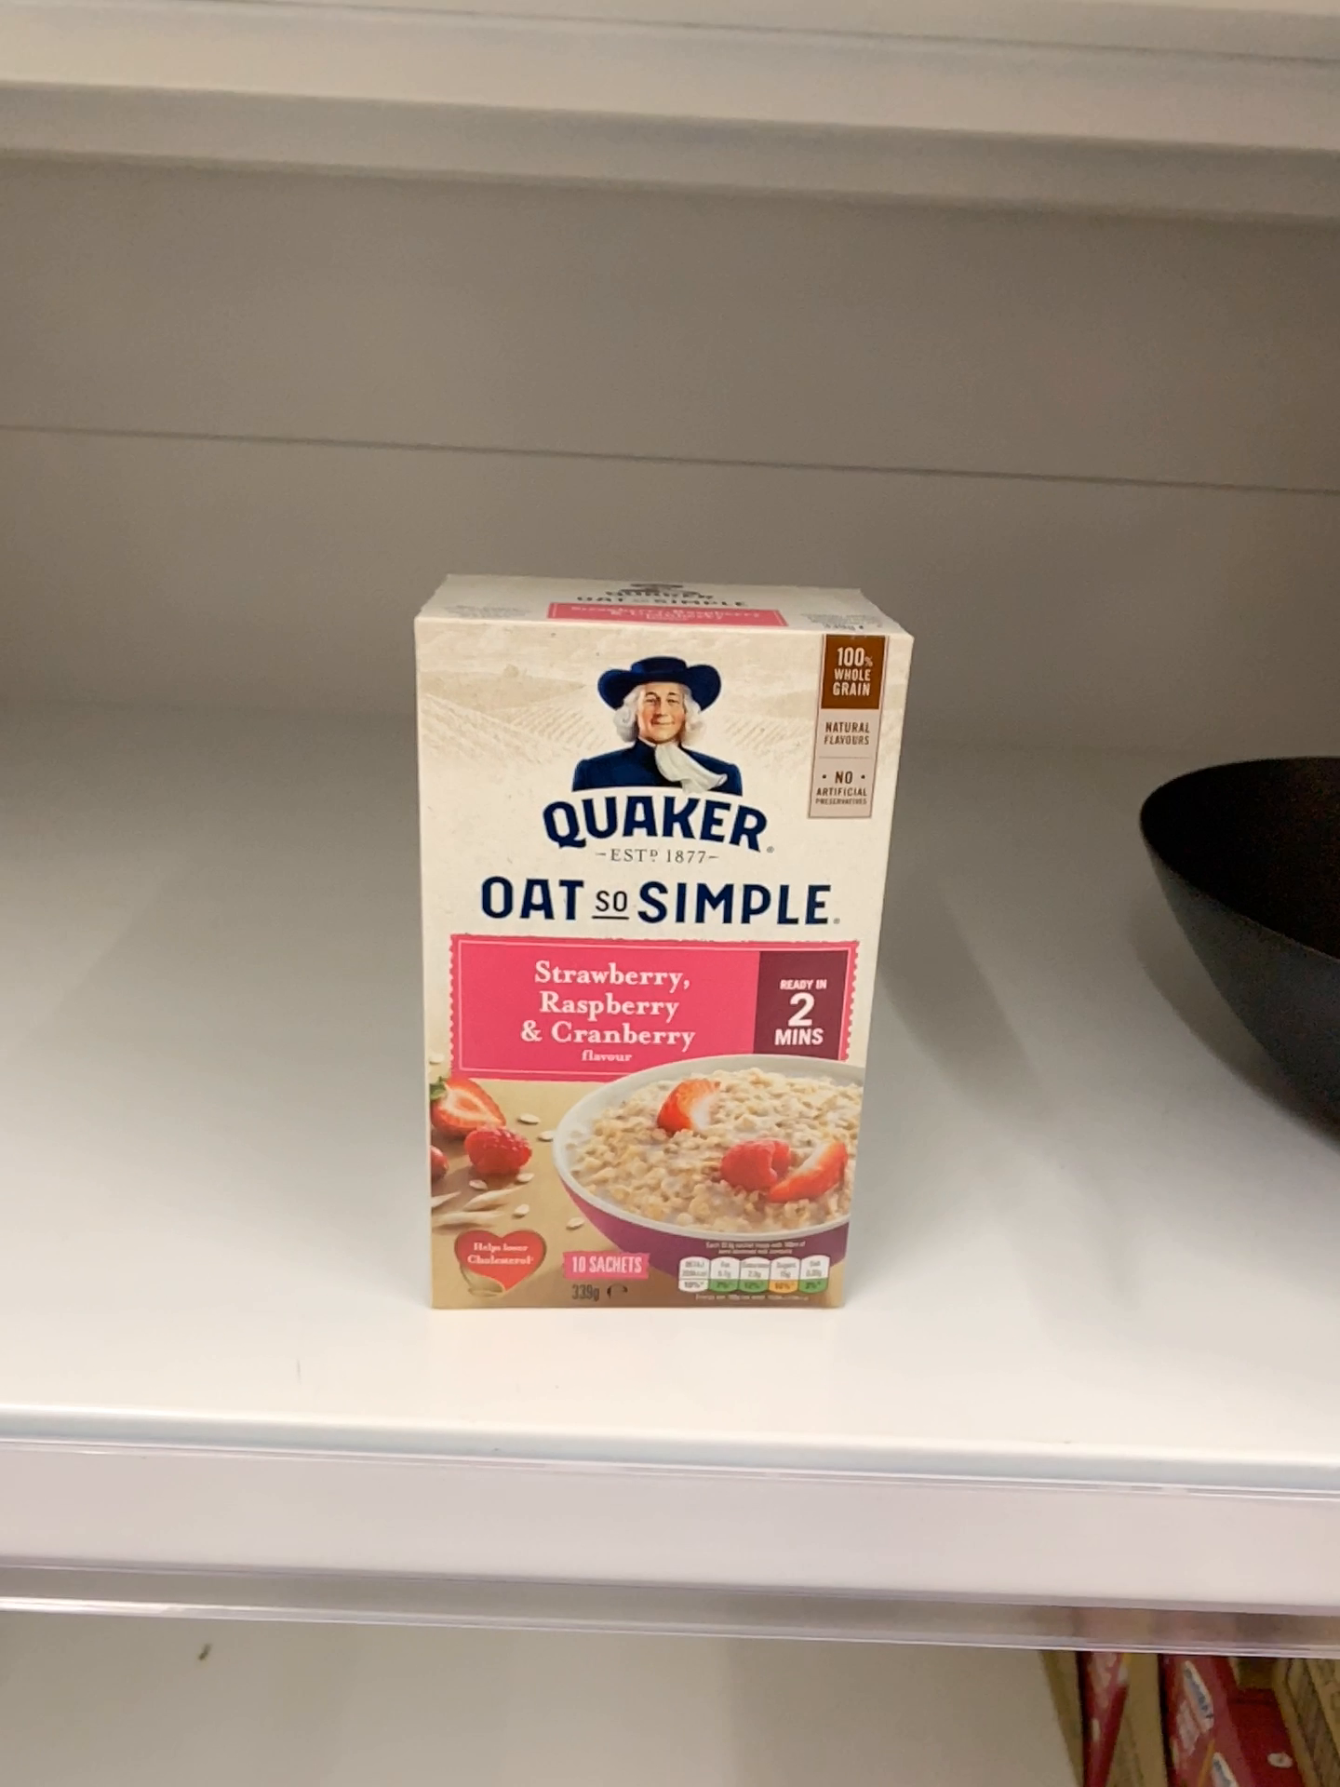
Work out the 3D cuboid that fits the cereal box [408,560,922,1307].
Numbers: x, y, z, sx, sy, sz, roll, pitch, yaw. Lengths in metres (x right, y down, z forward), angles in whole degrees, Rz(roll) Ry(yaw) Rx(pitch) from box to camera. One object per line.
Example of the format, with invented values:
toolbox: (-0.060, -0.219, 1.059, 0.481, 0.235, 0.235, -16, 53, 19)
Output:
cereal box: (-0.008, 0.013, 0.424, 0.130, 0.208, 0.081, 1, 21, -5)
